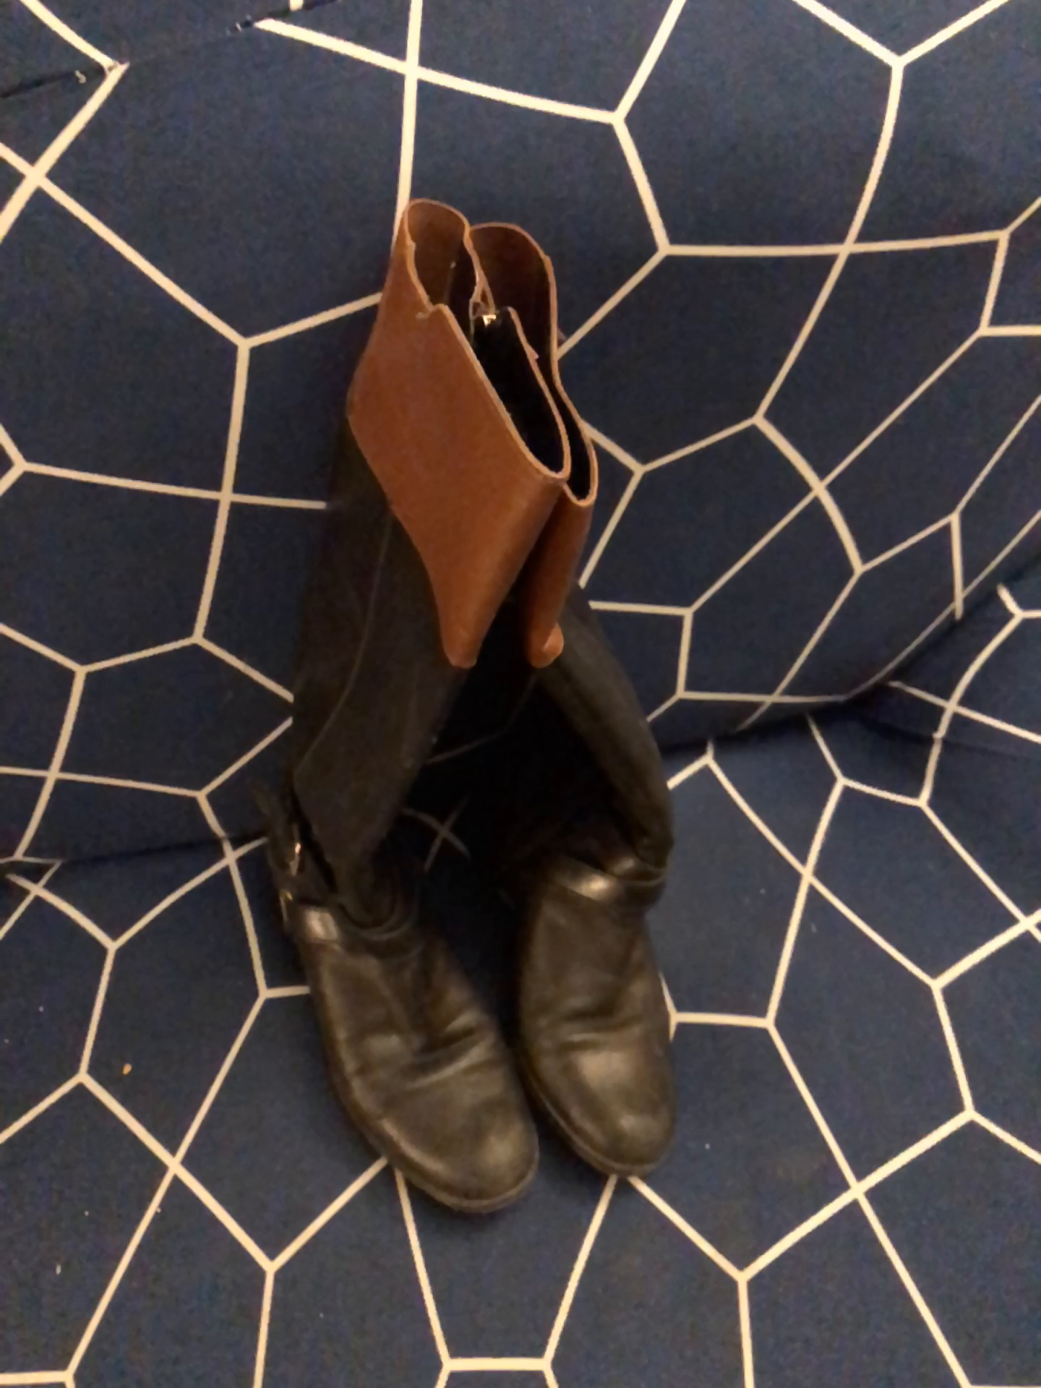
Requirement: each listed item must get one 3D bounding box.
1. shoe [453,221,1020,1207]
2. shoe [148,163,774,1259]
[{"bbox_3d":[0.039,0.044,0.491,0.100,0.378,0.251,-5,57,-8],"label":"shoe"},{"bbox_3d":[-0.054,0.049,0.504,0.110,0.428,0.271,-12,57,-15],"label":"shoe"}]
